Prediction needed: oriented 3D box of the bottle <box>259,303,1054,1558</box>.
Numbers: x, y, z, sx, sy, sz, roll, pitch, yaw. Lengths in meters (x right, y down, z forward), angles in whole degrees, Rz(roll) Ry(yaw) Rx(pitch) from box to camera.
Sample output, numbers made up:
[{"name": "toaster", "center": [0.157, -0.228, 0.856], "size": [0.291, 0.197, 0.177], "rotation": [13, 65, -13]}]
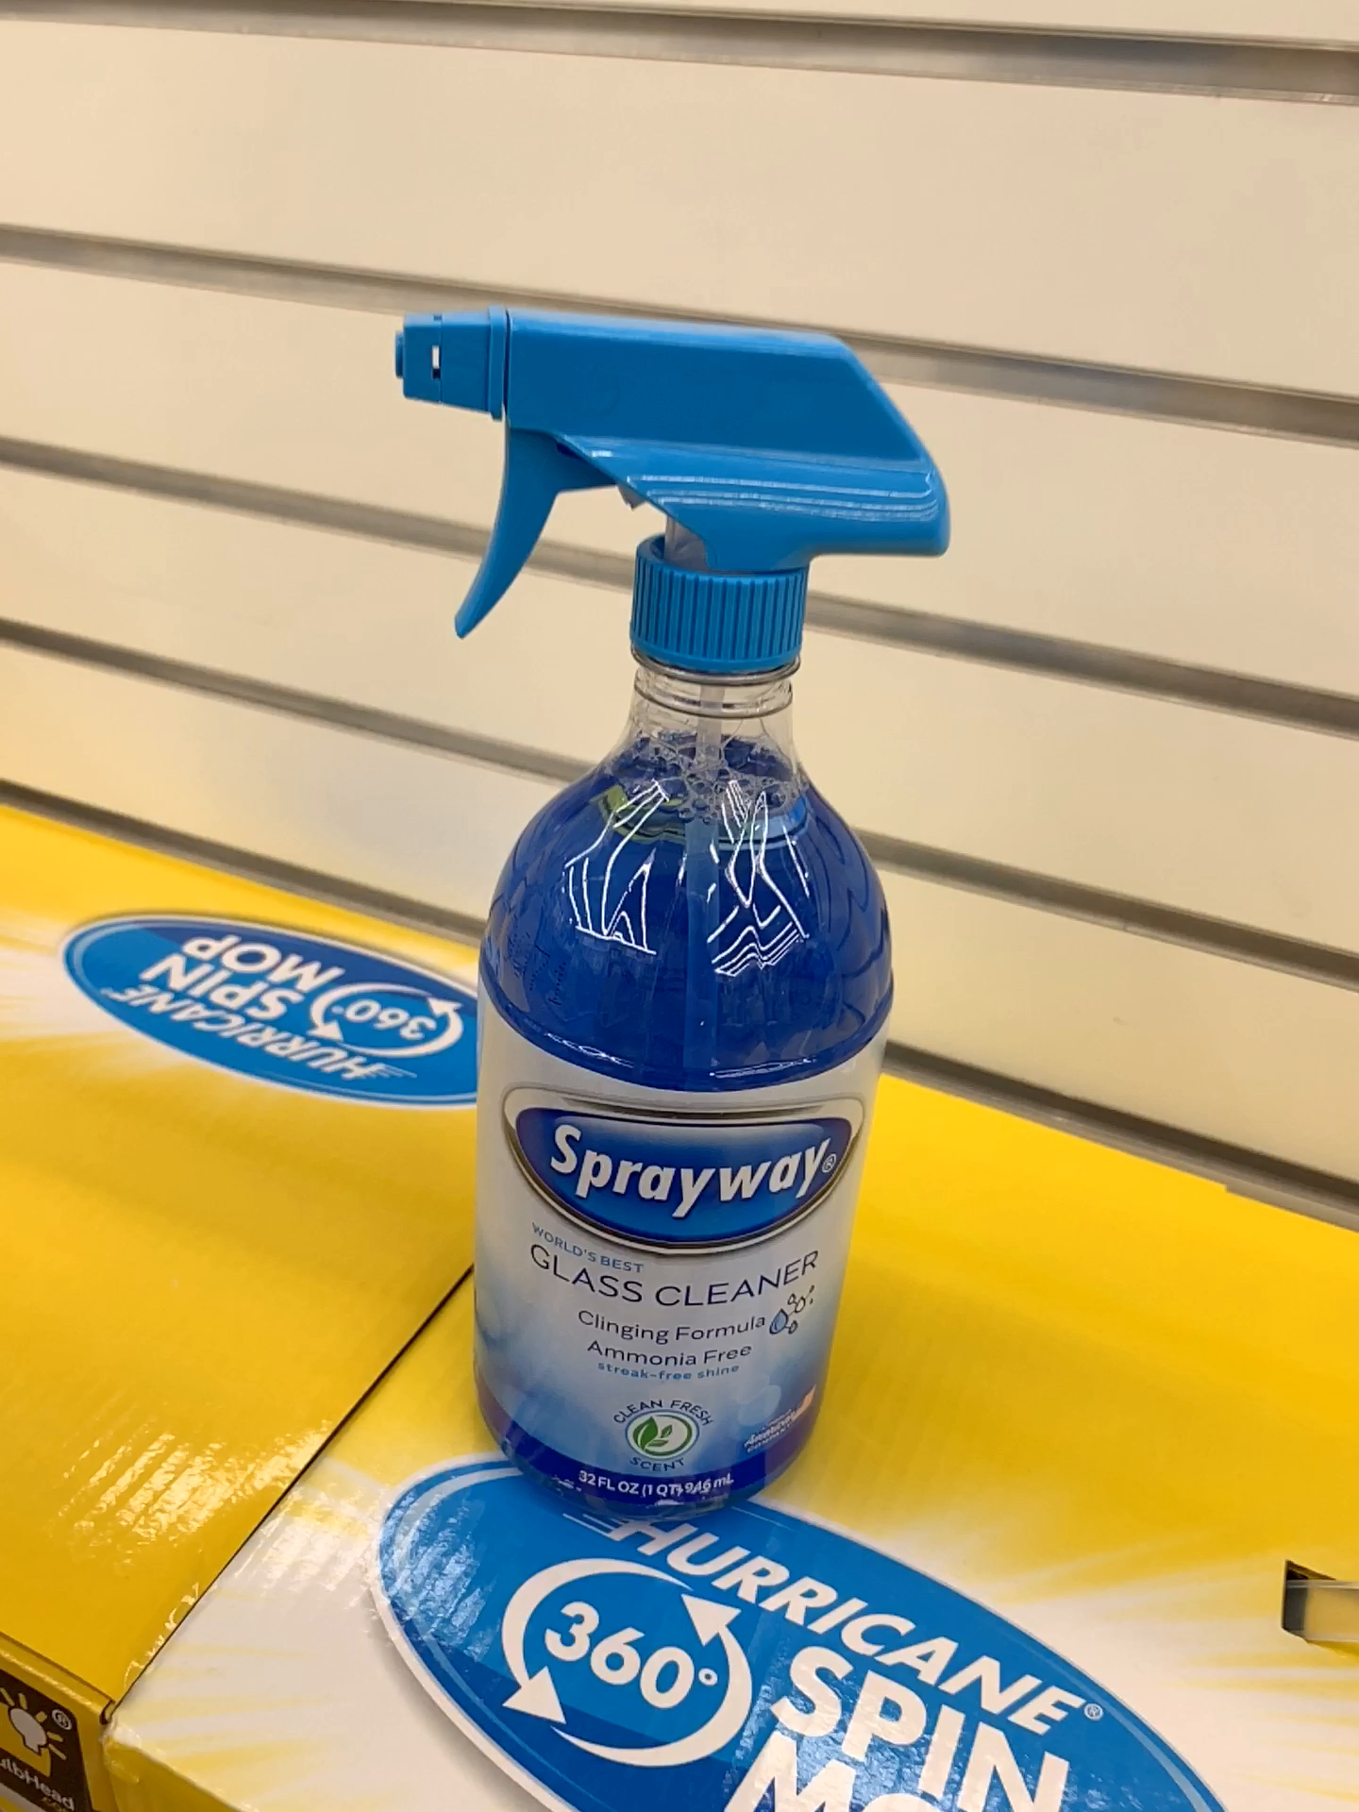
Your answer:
[{"name": "bottle", "center": [-0.010, 0.014, 0.292], "size": [0.110, 0.239, 0.090], "rotation": [4, 29, 0]}]
